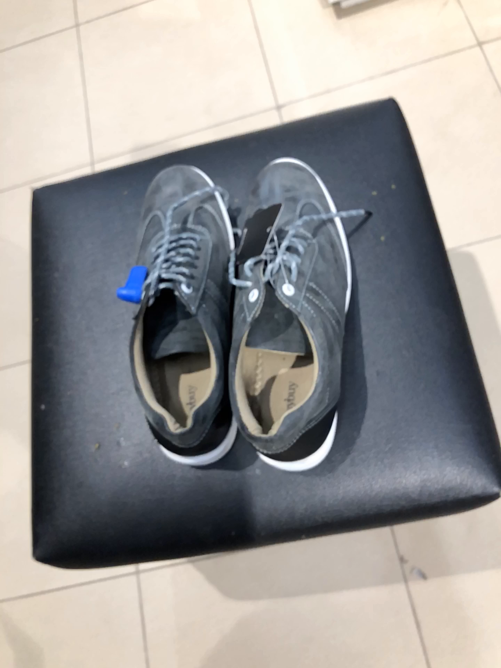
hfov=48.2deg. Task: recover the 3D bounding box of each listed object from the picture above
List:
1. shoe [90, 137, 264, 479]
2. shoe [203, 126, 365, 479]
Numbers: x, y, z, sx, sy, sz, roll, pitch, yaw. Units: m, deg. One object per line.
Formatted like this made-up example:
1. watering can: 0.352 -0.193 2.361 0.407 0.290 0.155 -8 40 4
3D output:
1. shoe: -0.059 -0.017 0.462 0.100 0.107 0.249 -9 70 9
2. shoe: 0.033 -0.020 0.439 0.100 0.107 0.249 -2 71 12
